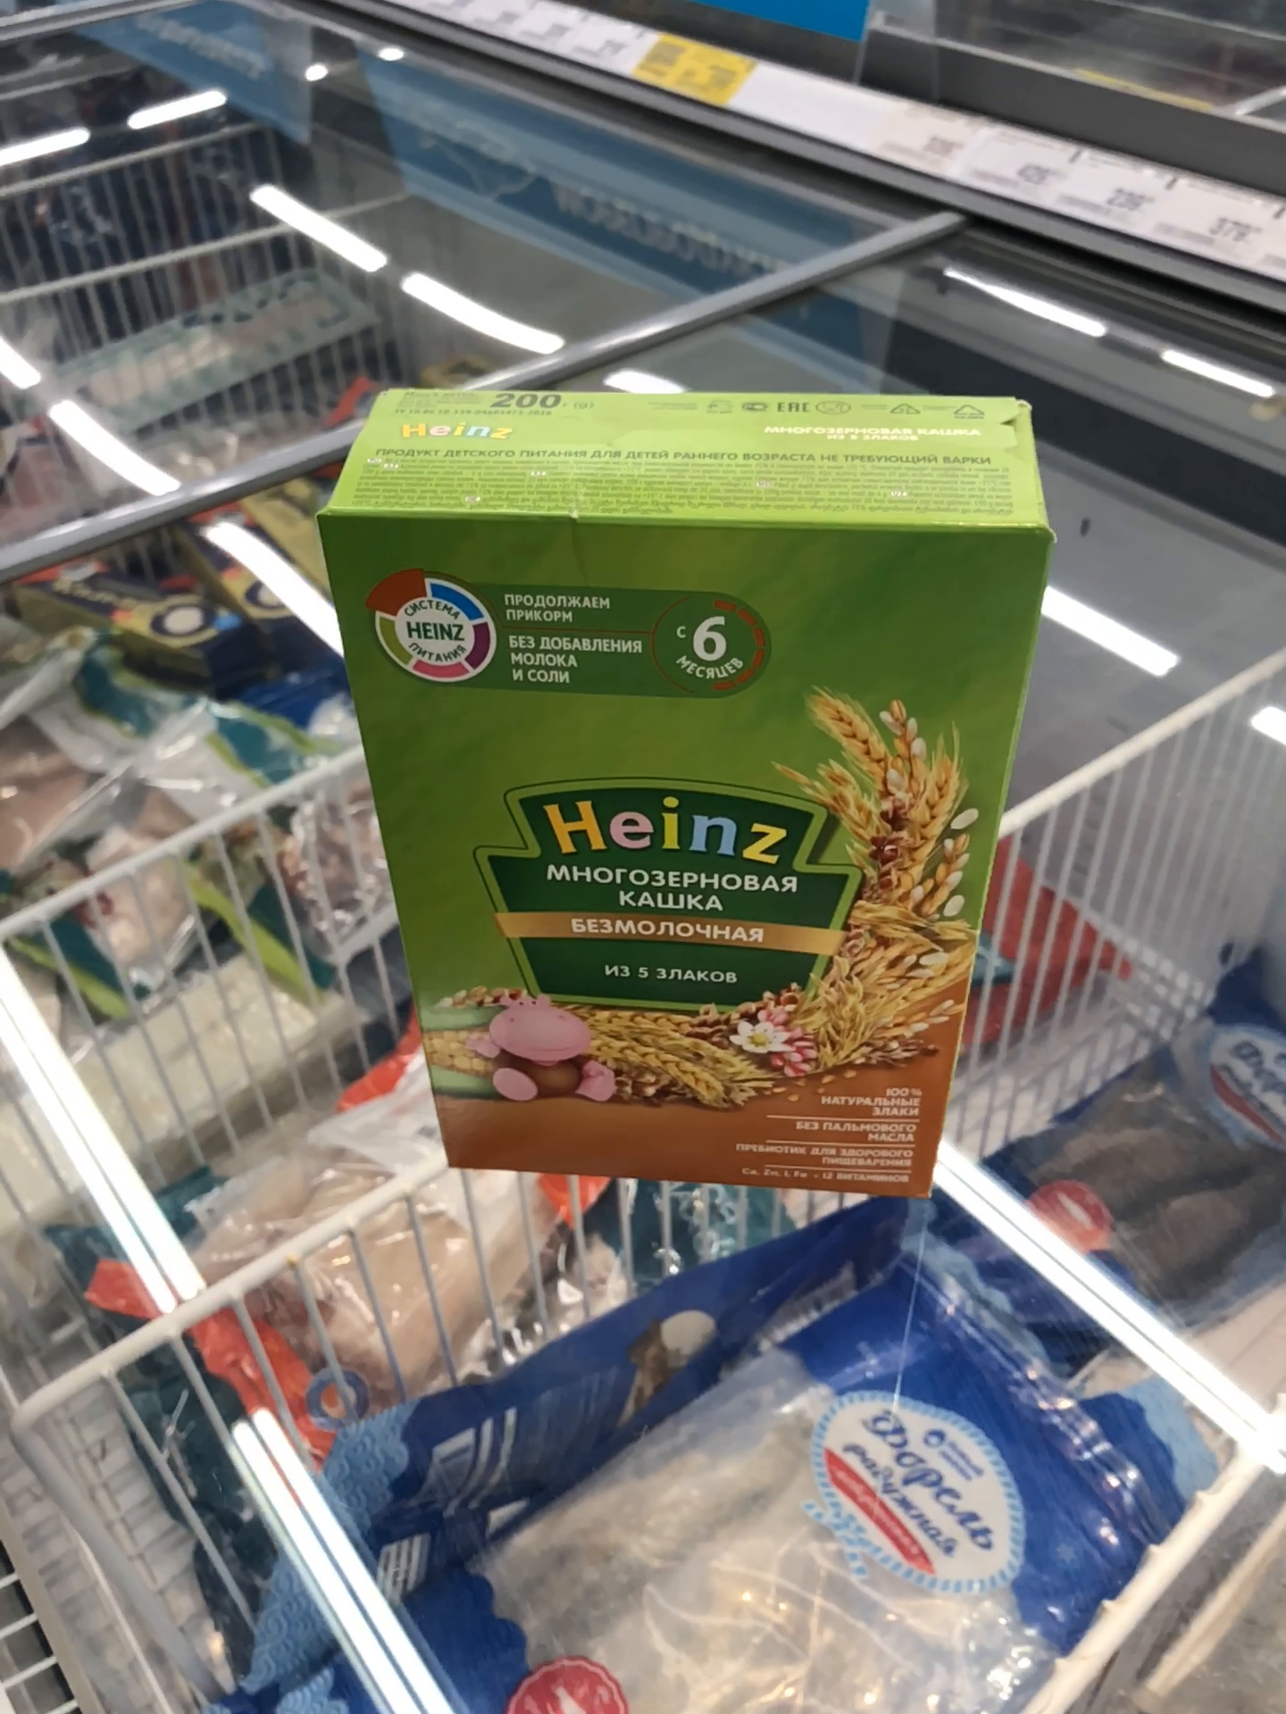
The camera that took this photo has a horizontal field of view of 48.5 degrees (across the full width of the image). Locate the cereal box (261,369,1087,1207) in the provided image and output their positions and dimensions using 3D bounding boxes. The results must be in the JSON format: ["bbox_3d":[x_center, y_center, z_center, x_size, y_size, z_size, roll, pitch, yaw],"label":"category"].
[{"bbox_3d":[0.009,-0.004,0.326,0.140,0.199,0.050,3,42,6],"label":"cereal box"}]
